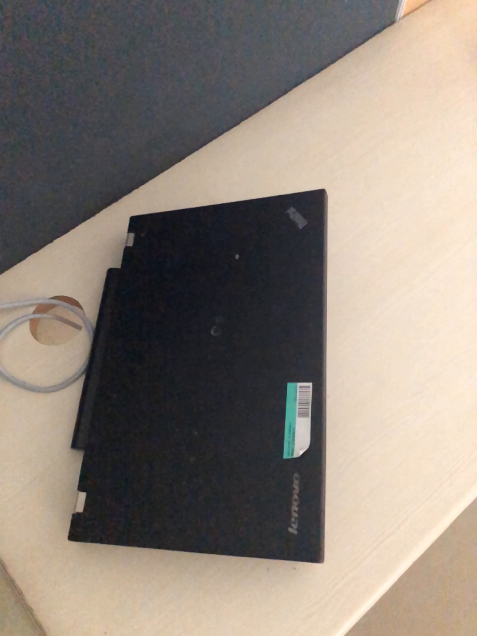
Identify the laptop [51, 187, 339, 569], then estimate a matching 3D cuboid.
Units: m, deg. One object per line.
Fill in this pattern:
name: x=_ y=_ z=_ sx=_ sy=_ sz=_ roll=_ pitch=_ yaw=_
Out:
laptop: x=-0.023 y=0.045 z=0.537 sx=0.234 sy=0.077 sz=0.364 roll=4 pitch=66 yaw=1
